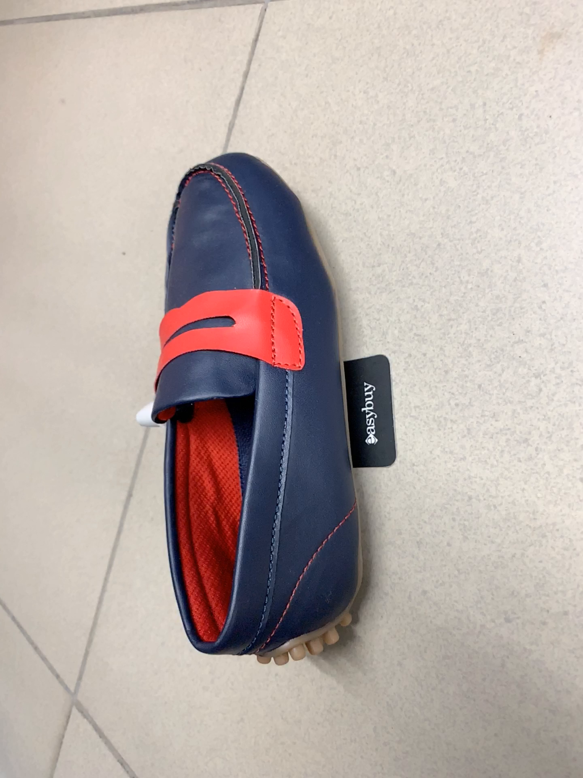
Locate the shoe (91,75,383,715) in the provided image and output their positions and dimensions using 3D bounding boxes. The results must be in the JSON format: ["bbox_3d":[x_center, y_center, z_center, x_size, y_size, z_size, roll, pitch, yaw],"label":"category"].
[{"bbox_3d":[-0.026,0.002,0.230,0.080,0.050,0.200,-14,77,38],"label":"shoe"}]
